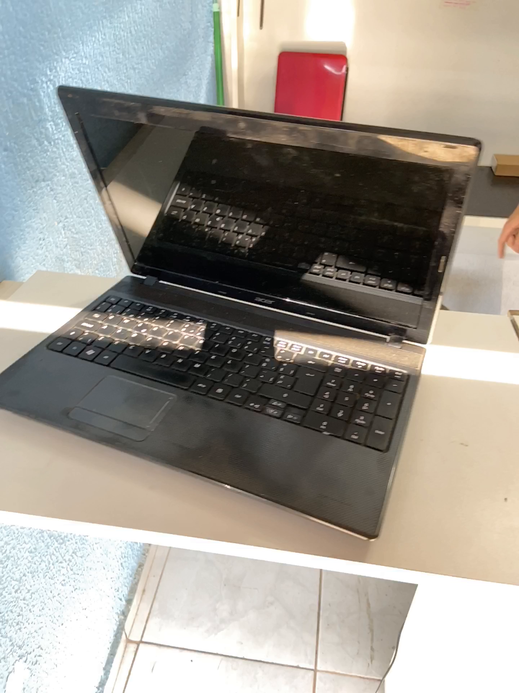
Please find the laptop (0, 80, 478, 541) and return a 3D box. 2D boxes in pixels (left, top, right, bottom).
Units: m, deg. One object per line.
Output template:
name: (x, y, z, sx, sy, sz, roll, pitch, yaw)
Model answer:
laptop: (-0.040, -0.068, 0.473, 0.374, 0.234, 0.255, 15, 38, 18)
